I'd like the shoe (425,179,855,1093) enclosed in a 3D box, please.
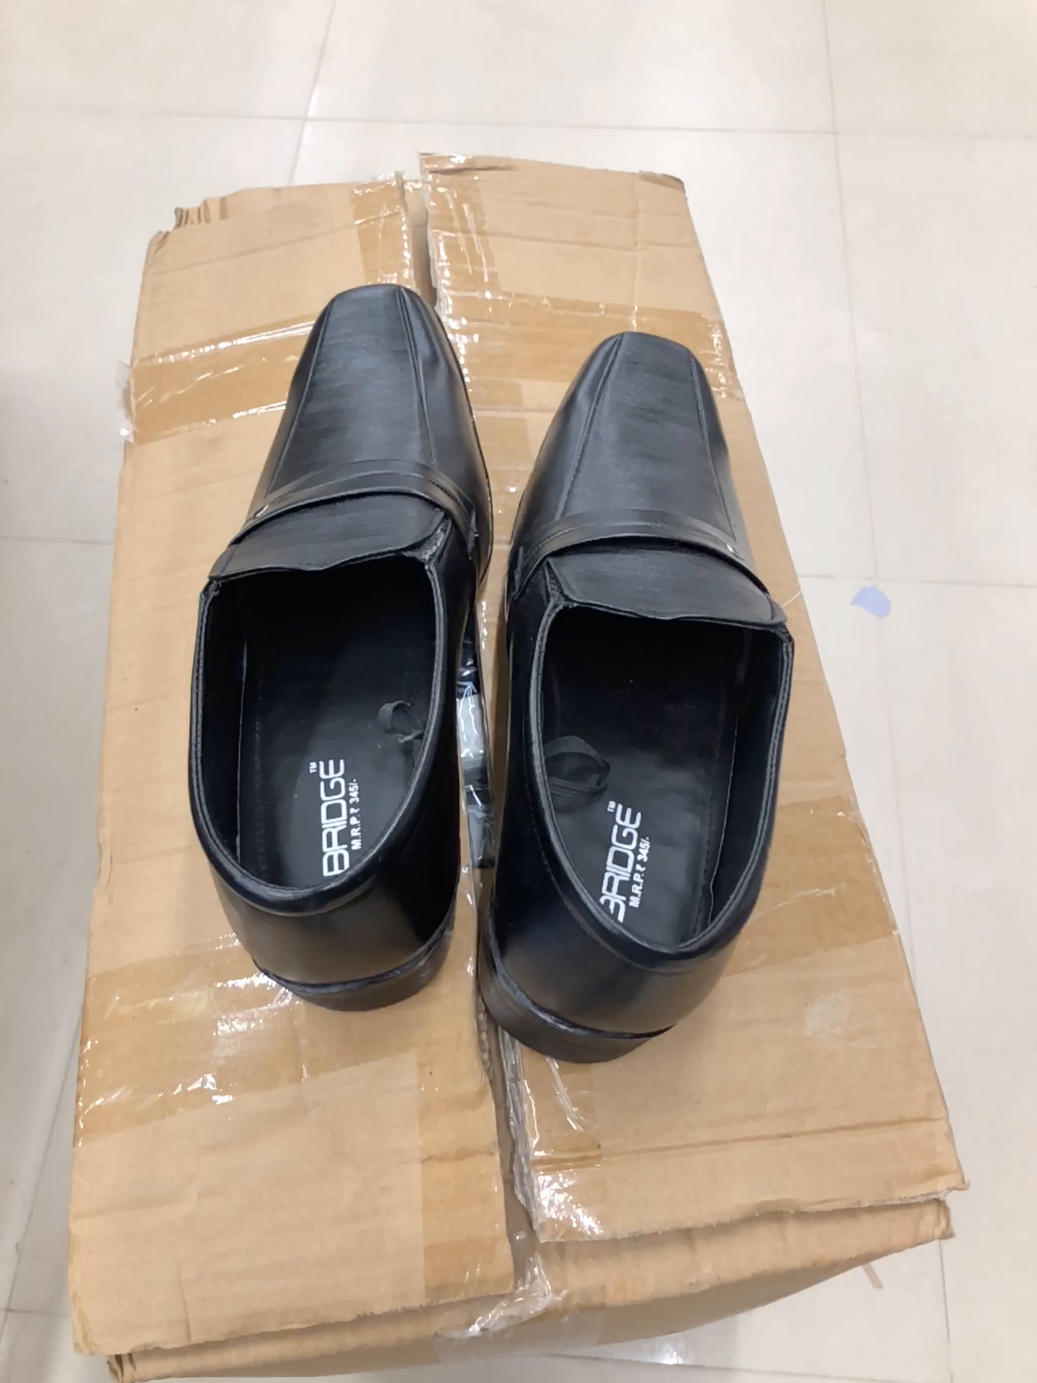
[{"bbox_3d":[0.038,-0.026,0.433,0.100,0.129,0.311,9,61,-9],"label":"shoe"}]

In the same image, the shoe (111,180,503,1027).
[{"bbox_3d":[-0.061,-0.038,0.430,0.100,0.129,0.291,-2,61,0],"label":"shoe"}]
